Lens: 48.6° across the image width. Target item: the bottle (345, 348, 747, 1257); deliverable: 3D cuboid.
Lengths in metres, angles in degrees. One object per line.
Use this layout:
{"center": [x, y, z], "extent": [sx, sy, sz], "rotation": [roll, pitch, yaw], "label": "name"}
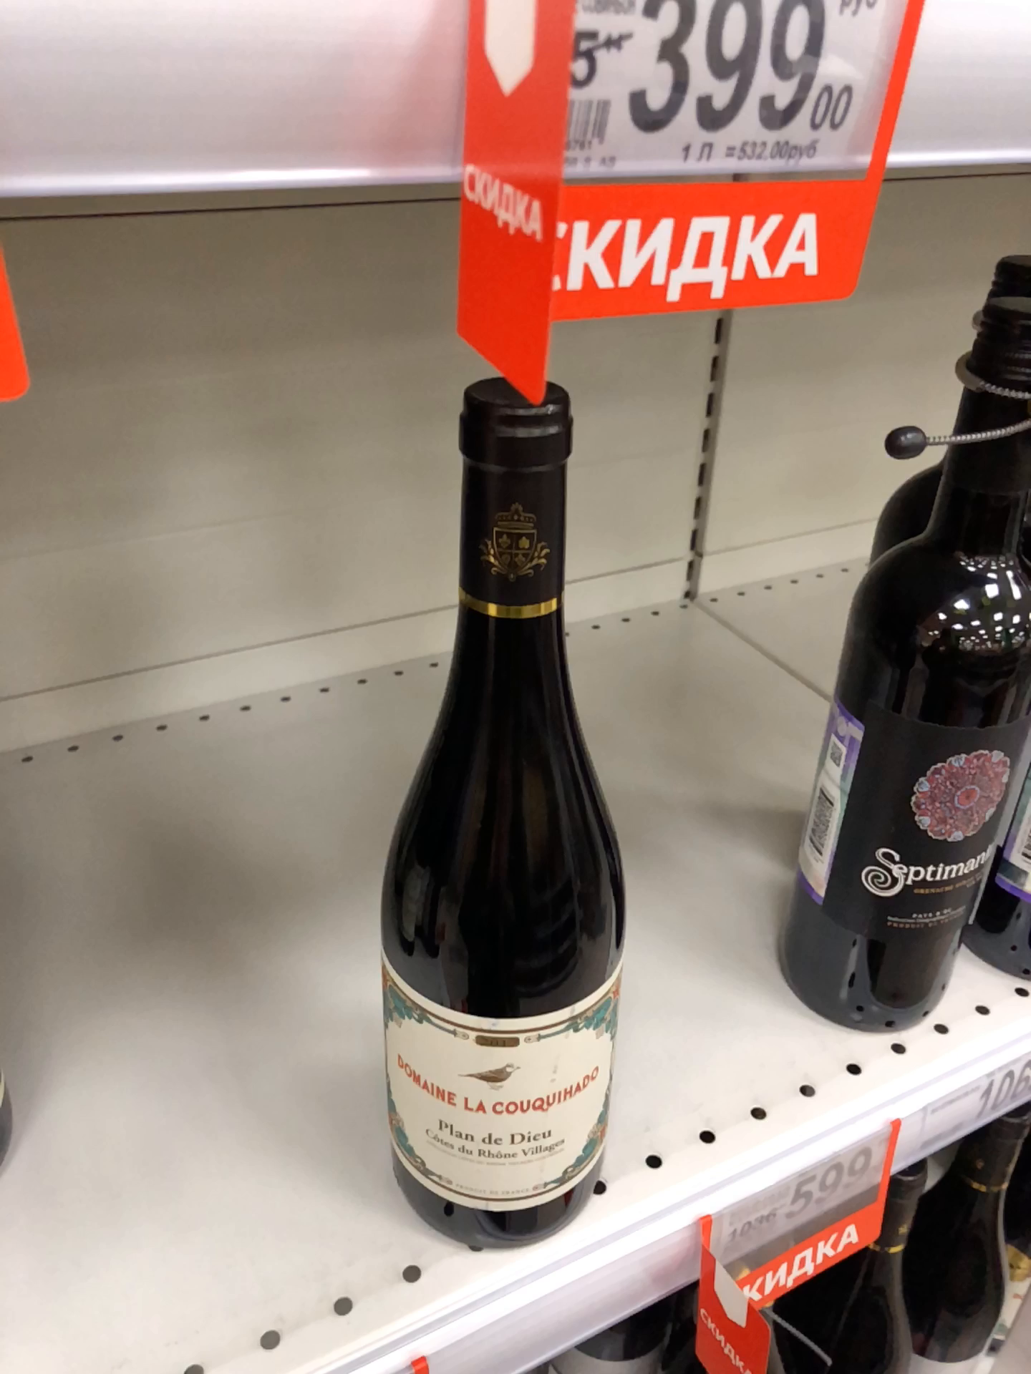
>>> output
{"center": [0.001, 0.055, 0.367], "extent": [0.090, 0.301, 0.080], "rotation": [1, 31, -3], "label": "bottle"}
